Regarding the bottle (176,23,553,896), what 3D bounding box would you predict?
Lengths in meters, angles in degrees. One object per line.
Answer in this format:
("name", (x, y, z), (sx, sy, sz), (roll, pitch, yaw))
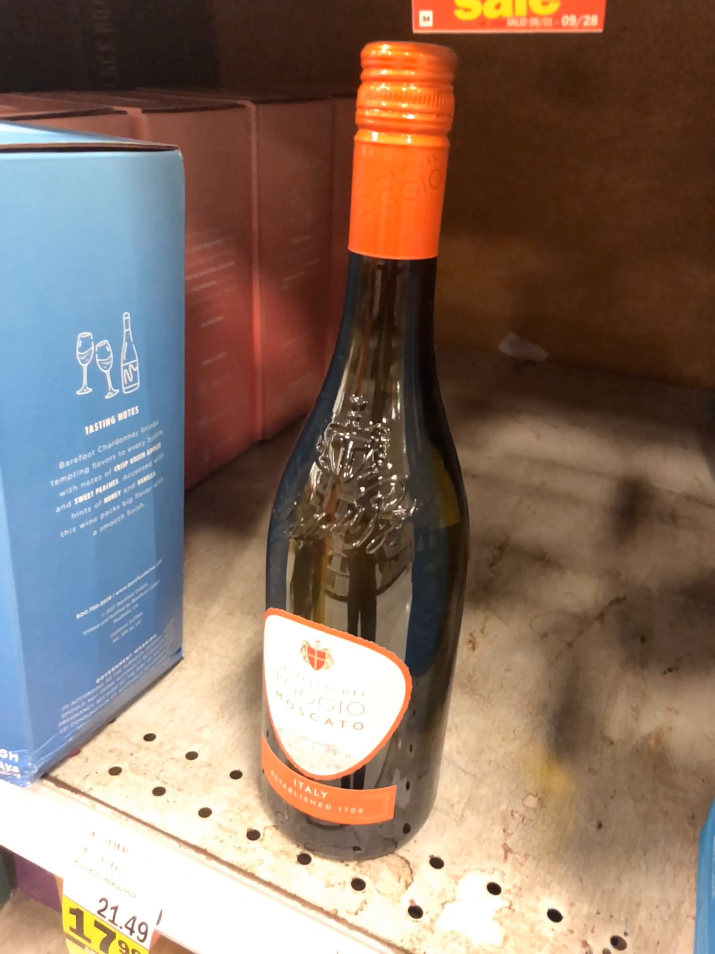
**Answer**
("bottle", (0.001, 0.011, 0.284), (0.080, 0.299, 0.070), (13, 31, 19))
